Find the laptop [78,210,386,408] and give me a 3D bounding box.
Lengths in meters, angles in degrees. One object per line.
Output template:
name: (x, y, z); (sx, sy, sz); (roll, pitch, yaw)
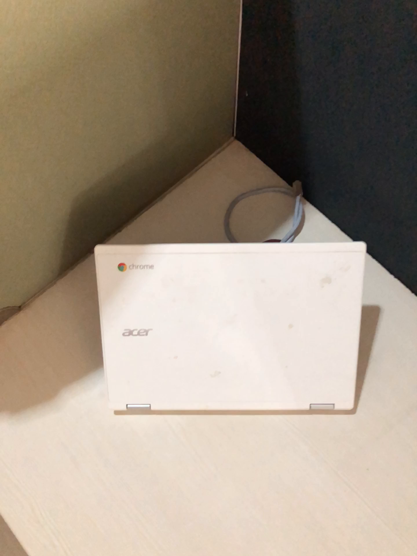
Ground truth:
laptop: (0.021, 0.041, 0.508); (0.285, 0.115, 0.187); (-1, 71, 2)
